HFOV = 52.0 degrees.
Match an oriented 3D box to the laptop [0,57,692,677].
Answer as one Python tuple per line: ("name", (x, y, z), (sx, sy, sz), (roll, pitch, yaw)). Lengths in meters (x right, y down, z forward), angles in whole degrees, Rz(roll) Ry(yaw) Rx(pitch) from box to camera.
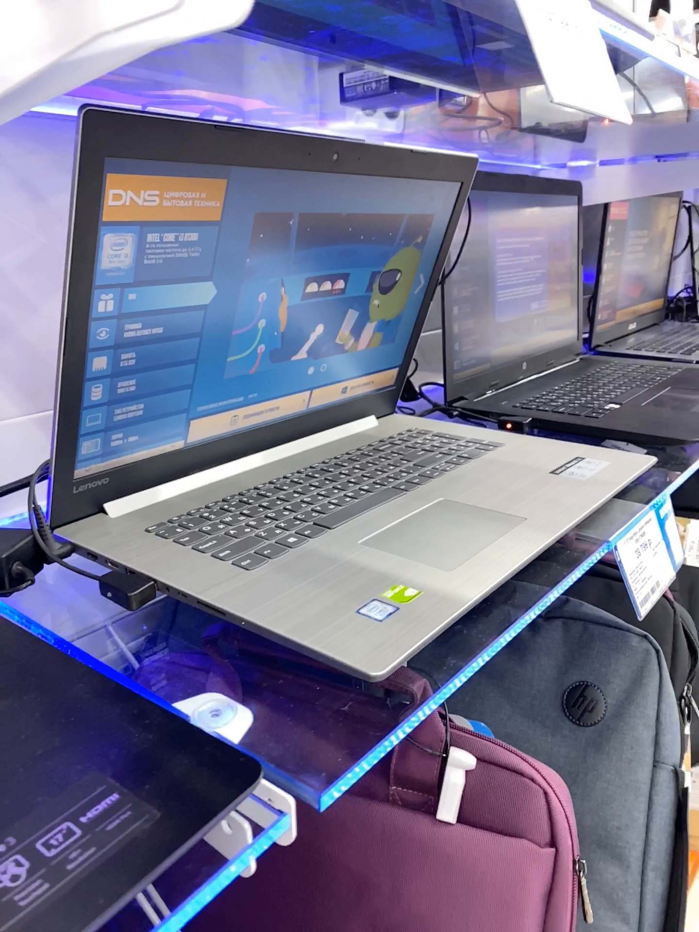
("laptop", (0.032, -0.101, 0.532), (0.280, 0.256, 0.417), (13, 22, 37))
